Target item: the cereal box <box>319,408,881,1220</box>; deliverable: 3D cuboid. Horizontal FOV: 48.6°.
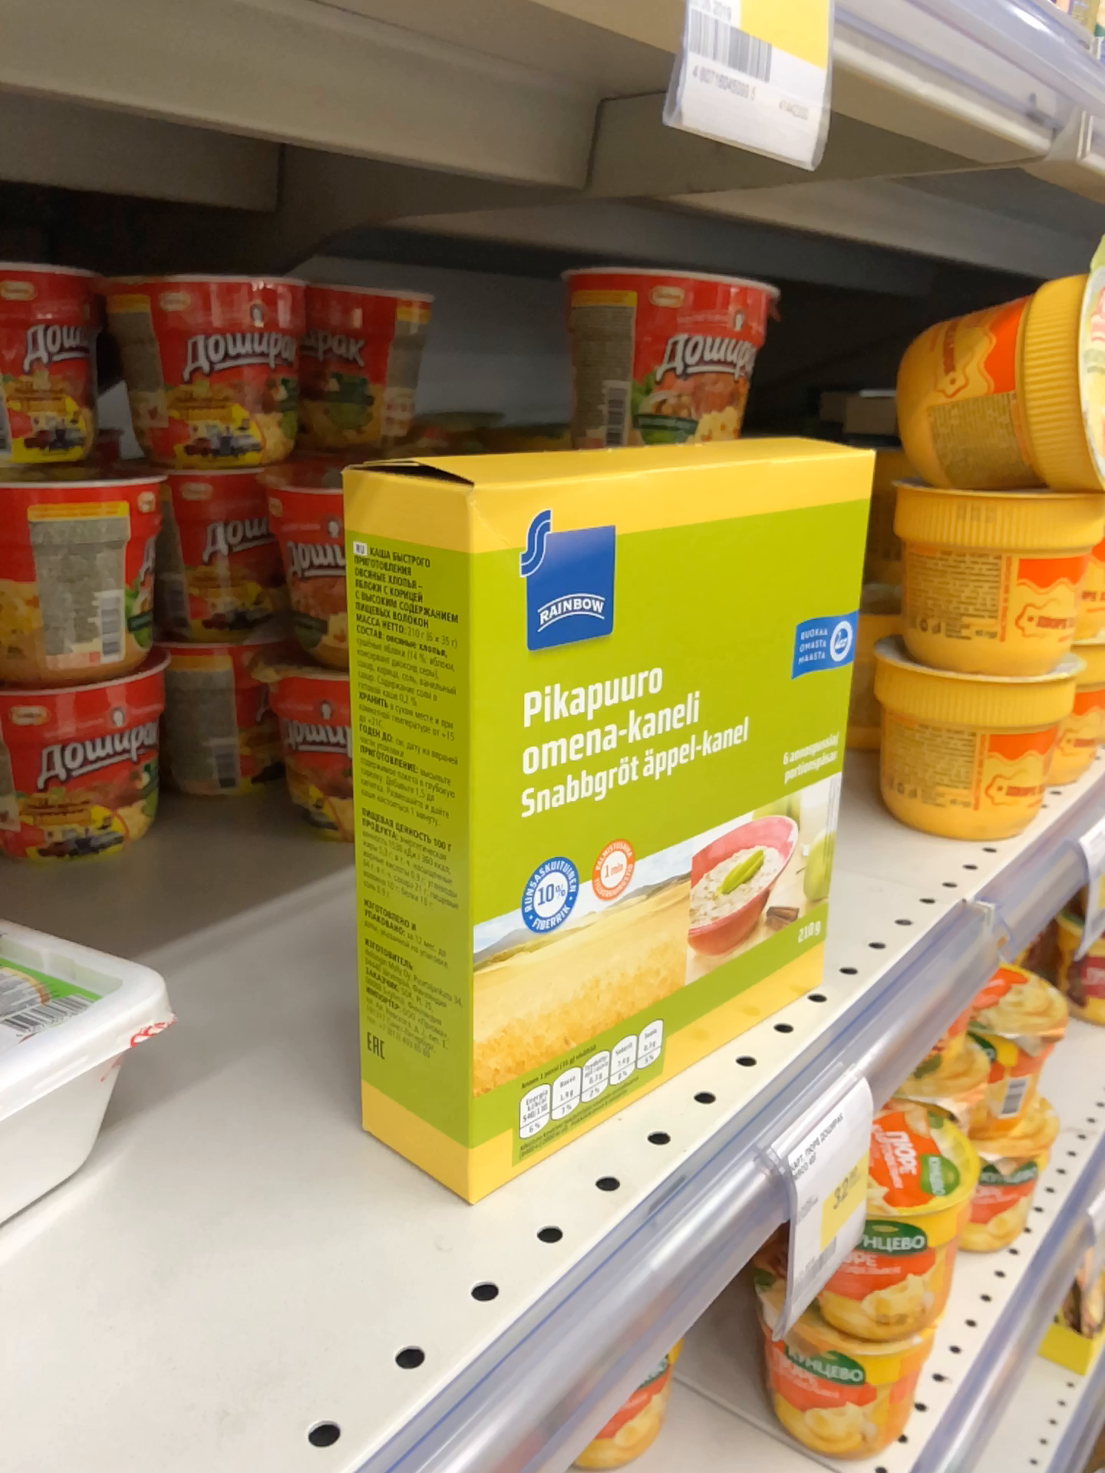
[{"bbox_3d":[0.021,0.006,0.352,0.050,0.189,0.170,16,22,41],"label":"cereal box"}]
